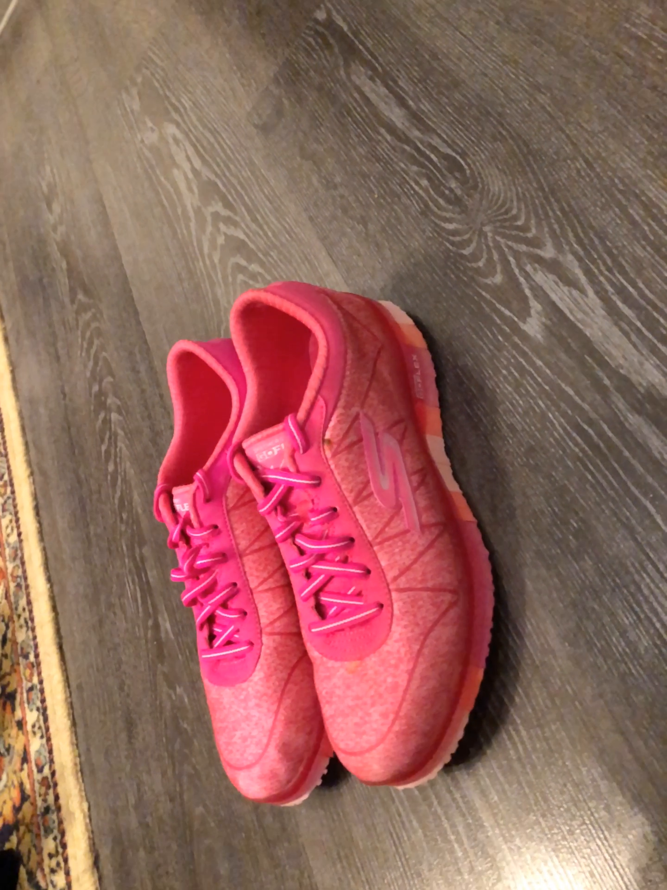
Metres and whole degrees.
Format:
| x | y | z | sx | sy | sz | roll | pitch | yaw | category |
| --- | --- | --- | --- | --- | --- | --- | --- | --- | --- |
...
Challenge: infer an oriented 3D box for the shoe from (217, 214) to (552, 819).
| x | y | z | sx | sy | sz | roll | pitch | yaw | category |
| --- | --- | --- | --- | --- | --- | --- | --- | --- | --- |
| 0.013 | 0.034 | 0.366 | 0.100 | 0.090 | 0.261 | -26 | 60 | 38 | shoe |

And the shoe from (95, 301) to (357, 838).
| x | y | z | sx | sy | sz | roll | pitch | yaw | category |
| --- | --- | --- | --- | --- | --- | --- | --- | --- | --- |
| -0.060 | 0.067 | 0.419 | 0.100 | 0.090 | 0.260 | -20 | 64 | 41 | shoe |
